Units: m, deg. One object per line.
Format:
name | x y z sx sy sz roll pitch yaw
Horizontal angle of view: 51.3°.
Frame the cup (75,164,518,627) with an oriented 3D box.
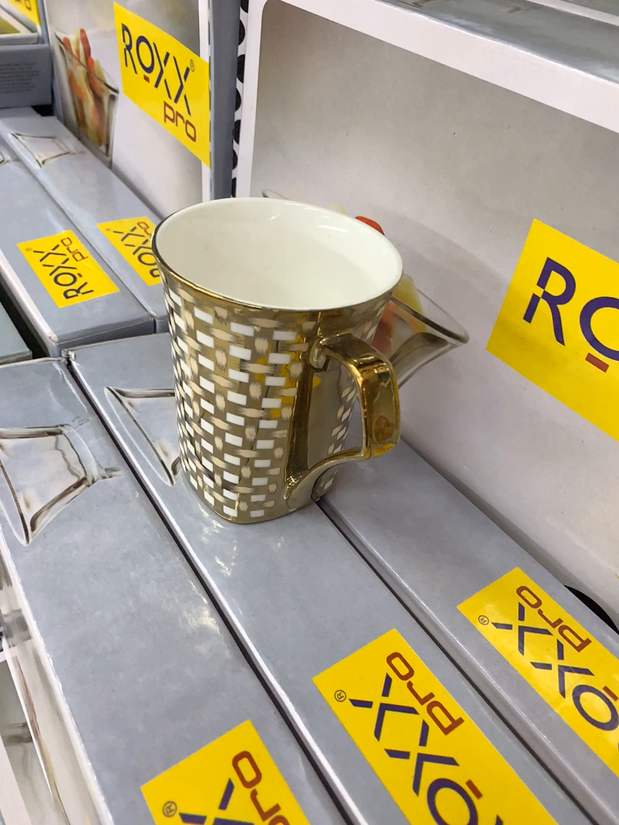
cup | -0.012 -0.014 0.217 0.080 0.089 0.111 -23 50 -32
